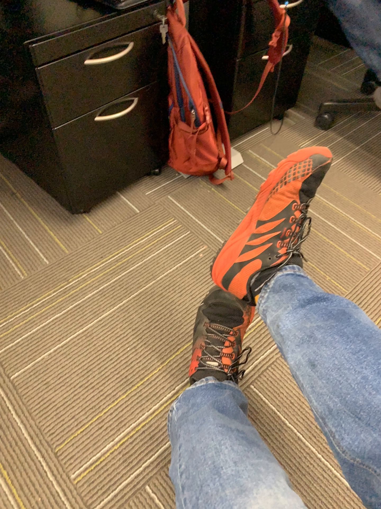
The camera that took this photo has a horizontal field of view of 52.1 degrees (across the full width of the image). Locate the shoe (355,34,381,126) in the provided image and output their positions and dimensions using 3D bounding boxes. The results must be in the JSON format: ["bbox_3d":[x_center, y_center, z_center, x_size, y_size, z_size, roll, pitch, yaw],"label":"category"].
[{"bbox_3d":[0.916,-0.730,1.677,0.155,0.356,0.164,-36,93,-10],"label":"shoe"}]

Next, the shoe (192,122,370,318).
[{"bbox_3d":[0.156,-0.056,0.708,0.143,0.303,0.118,41,26,20],"label":"shoe"}]

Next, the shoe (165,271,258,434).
[{"bbox_3d":[0.047,0.192,0.825,0.129,0.135,0.289,11,92,6],"label":"shoe"}]
